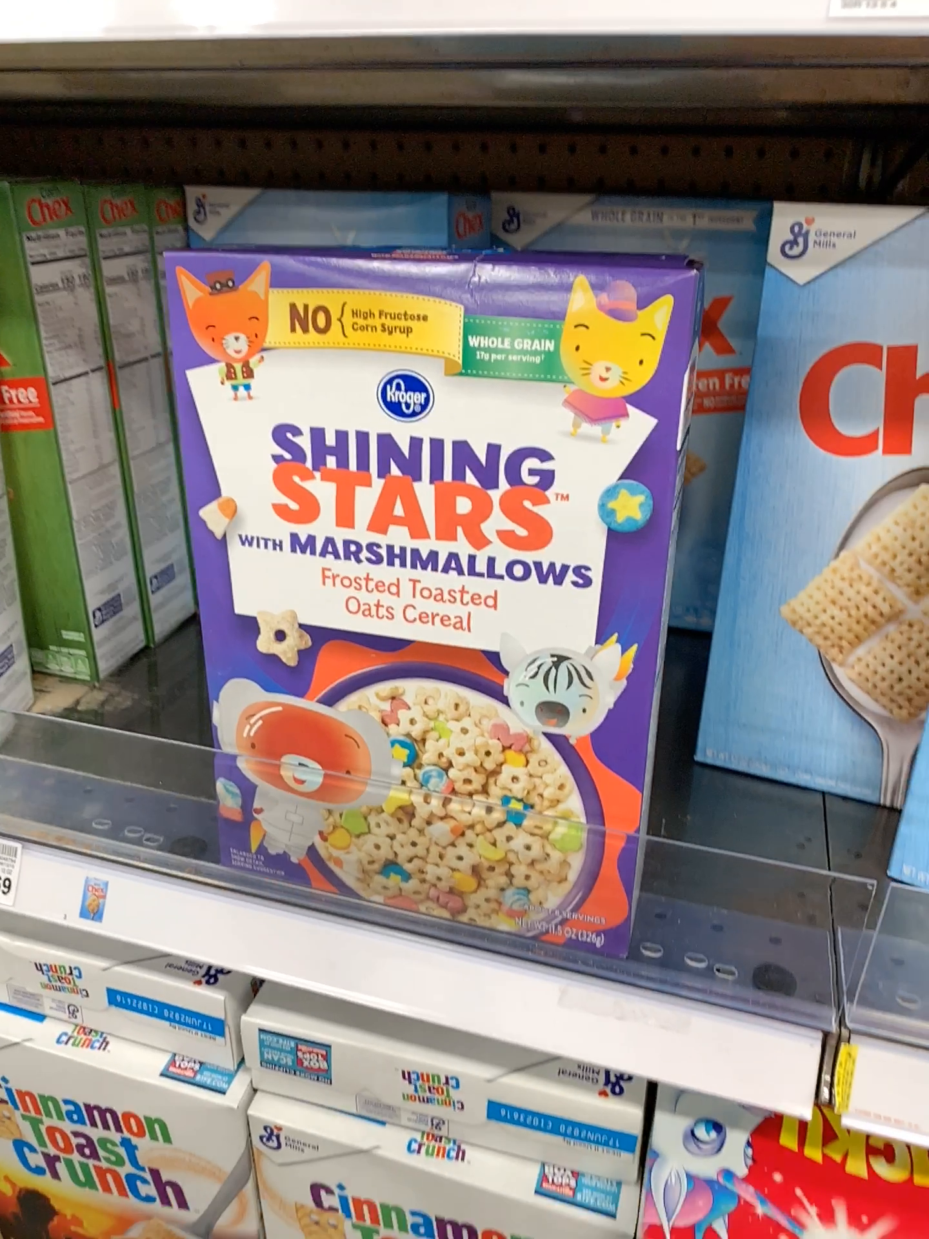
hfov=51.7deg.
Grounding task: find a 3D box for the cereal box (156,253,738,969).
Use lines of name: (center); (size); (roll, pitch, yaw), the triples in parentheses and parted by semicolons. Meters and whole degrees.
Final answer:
cereal box: (-0.008, -0.002, 0.389); (0.200, 0.269, 0.050); (7, 23, 14)
